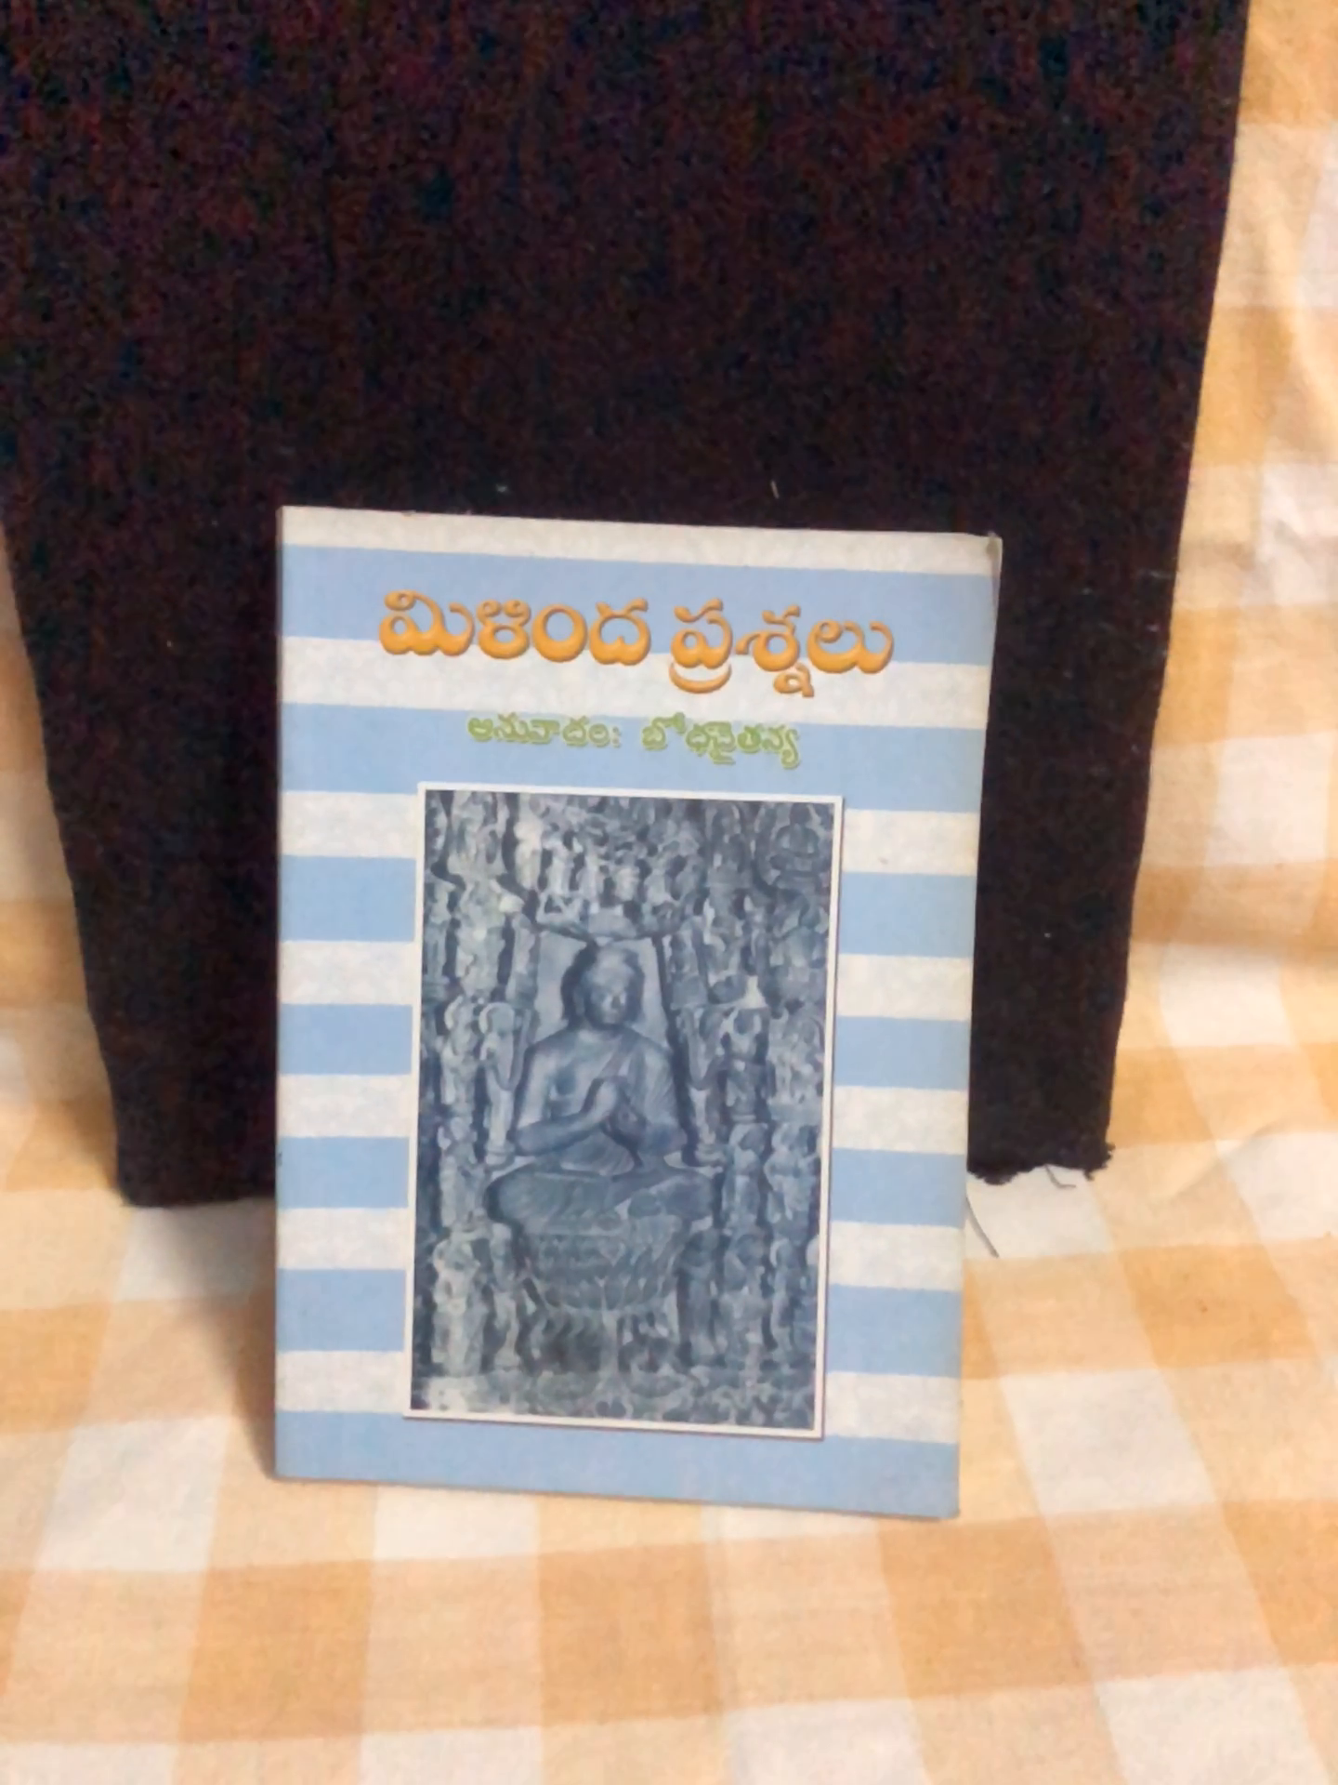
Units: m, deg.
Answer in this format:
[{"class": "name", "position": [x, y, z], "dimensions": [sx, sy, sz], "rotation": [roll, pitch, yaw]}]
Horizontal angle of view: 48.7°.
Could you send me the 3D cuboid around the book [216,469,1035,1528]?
[{"class": "book", "position": [-0.012, 0.022, 0.315], "dimensions": [0.160, 0.210, 0.030], "rotation": [2, 5, 3]}]
